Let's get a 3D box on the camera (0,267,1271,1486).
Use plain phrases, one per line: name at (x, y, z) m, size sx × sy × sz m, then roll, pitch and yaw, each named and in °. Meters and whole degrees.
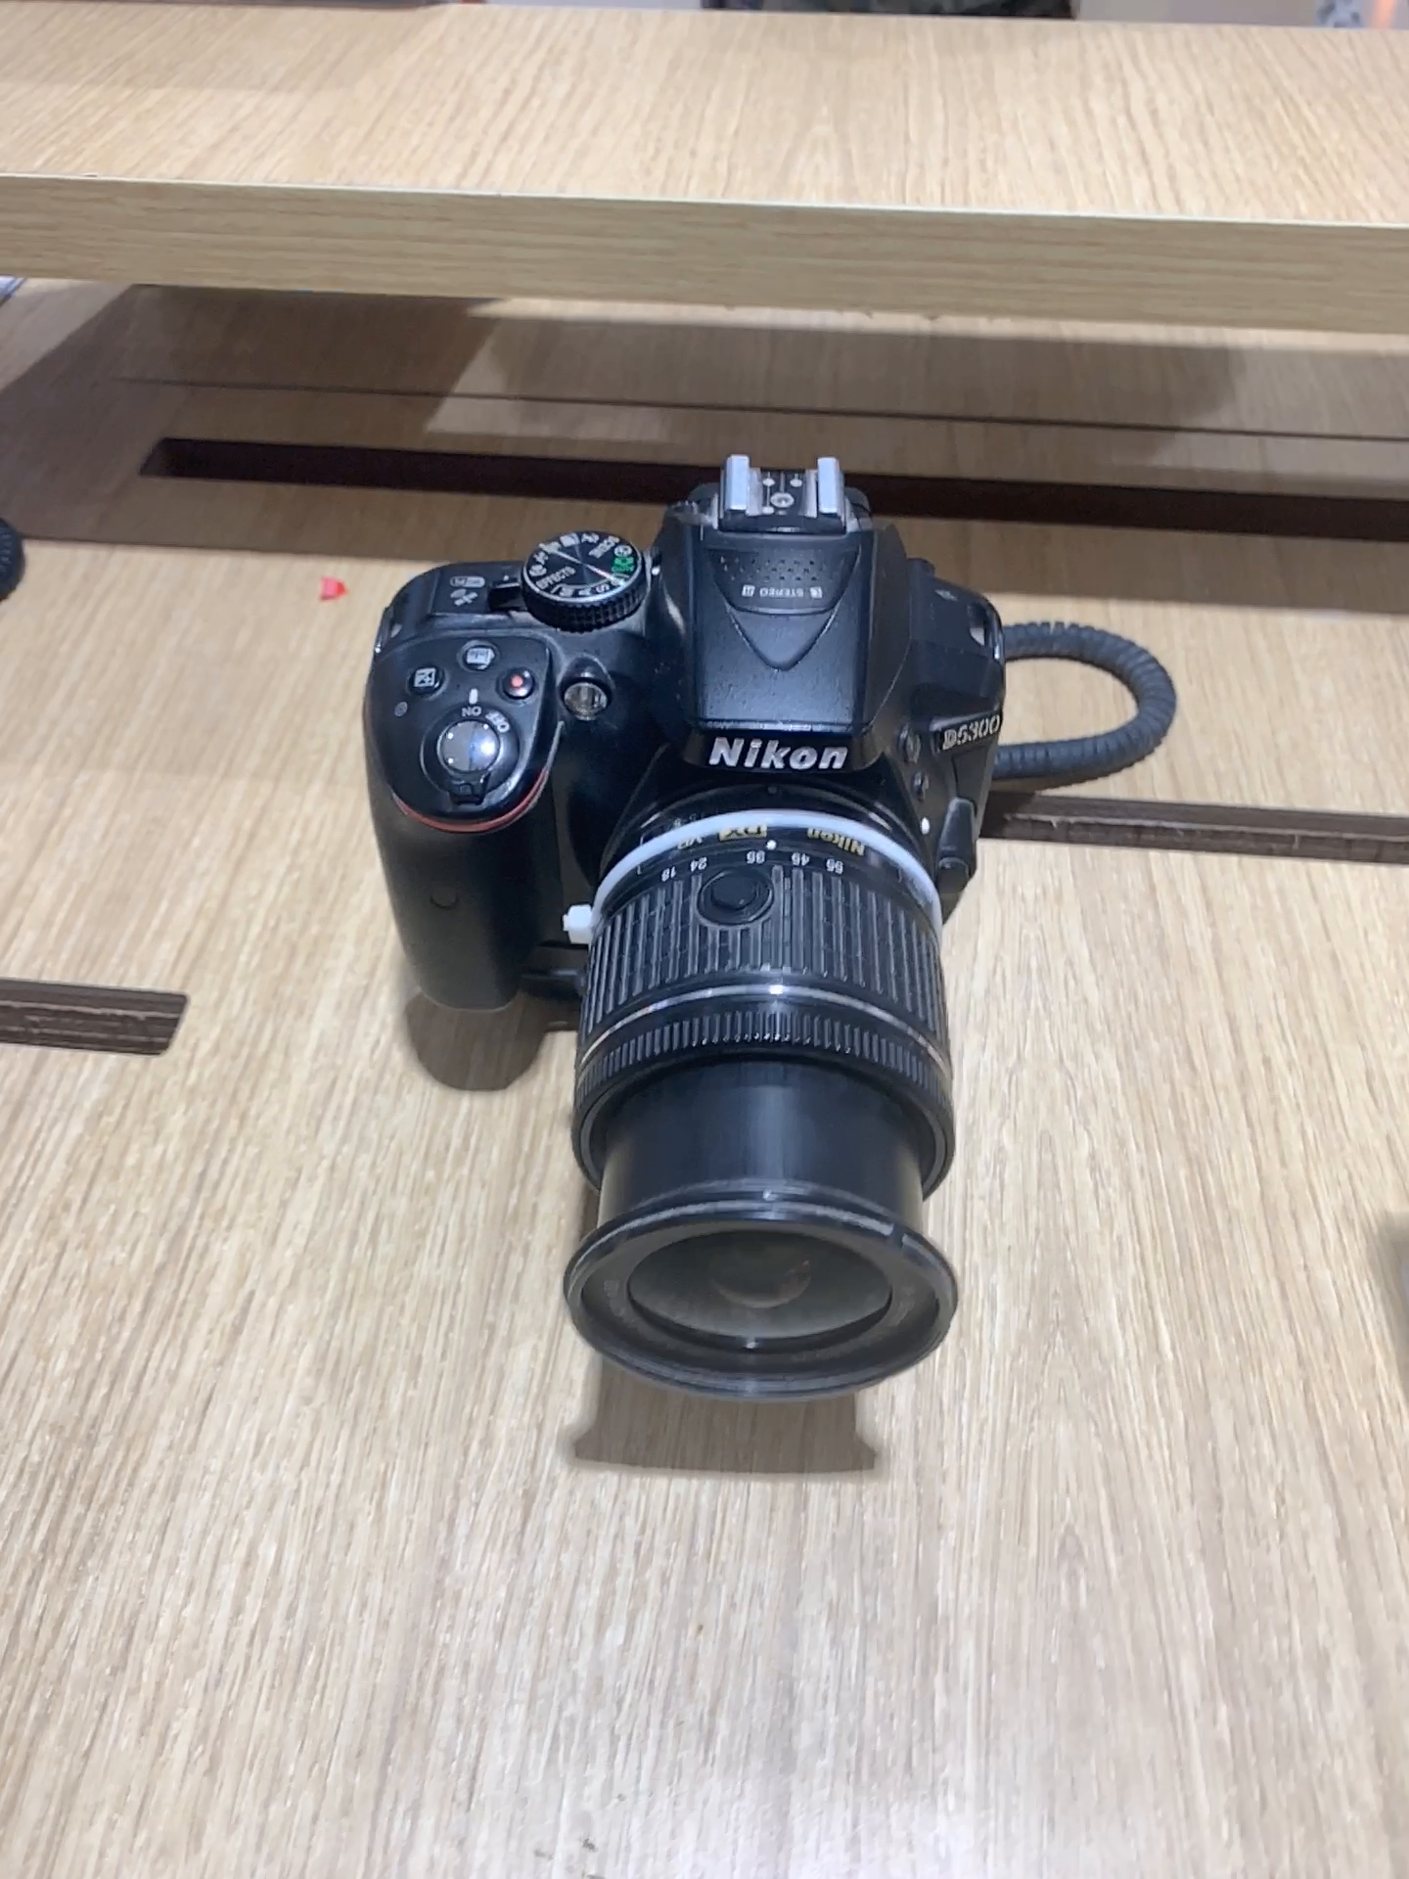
camera at (-0.009, -0.024, 0.286) m, size 0.160 × 0.120 × 0.211 m, roll 1°, pitch 49°, yaw 2°
